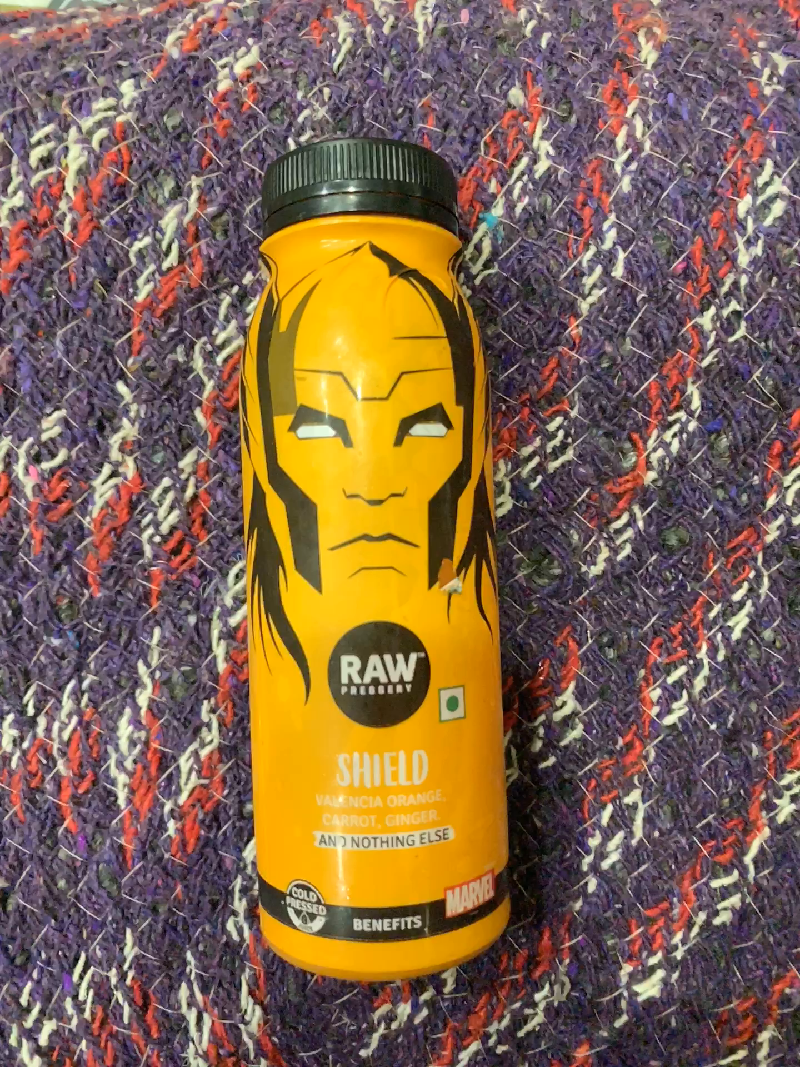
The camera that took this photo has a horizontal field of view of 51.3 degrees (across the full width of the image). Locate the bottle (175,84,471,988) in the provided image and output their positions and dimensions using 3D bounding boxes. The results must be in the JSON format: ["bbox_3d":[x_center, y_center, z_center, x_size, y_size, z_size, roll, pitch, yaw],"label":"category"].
[{"bbox_3d":[-0.013,0.001,0.173,0.050,0.050,0.160,-1,88,3],"label":"bottle"}]
